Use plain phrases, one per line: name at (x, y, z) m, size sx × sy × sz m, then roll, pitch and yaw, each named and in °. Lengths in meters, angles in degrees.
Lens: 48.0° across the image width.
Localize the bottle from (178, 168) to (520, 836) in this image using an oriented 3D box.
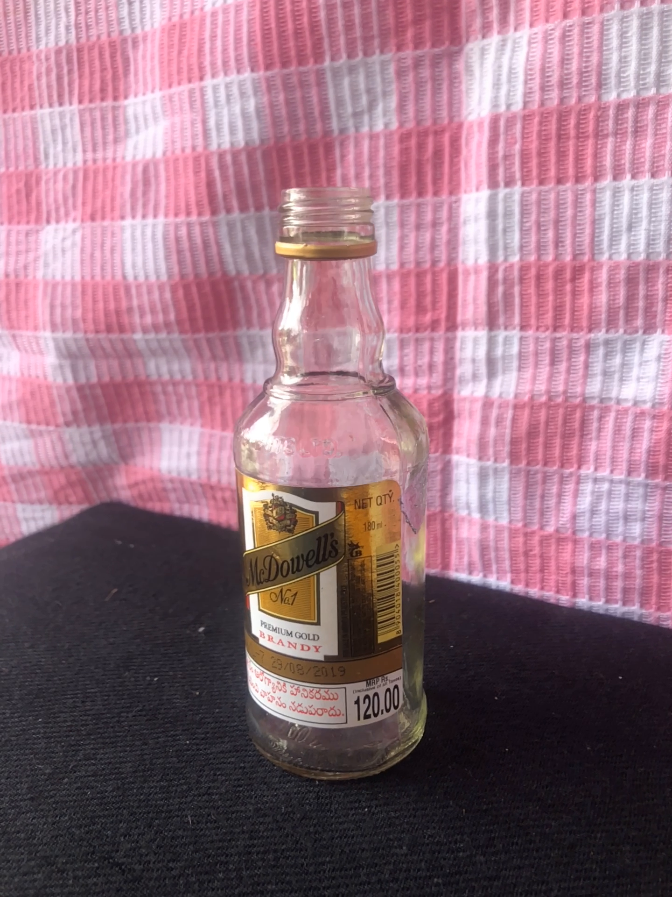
bottle at (0.005, 0.010, 0.193) m, size 0.060 × 0.149 × 0.050 m, roll 11°, pitch 21°, yaw 32°
